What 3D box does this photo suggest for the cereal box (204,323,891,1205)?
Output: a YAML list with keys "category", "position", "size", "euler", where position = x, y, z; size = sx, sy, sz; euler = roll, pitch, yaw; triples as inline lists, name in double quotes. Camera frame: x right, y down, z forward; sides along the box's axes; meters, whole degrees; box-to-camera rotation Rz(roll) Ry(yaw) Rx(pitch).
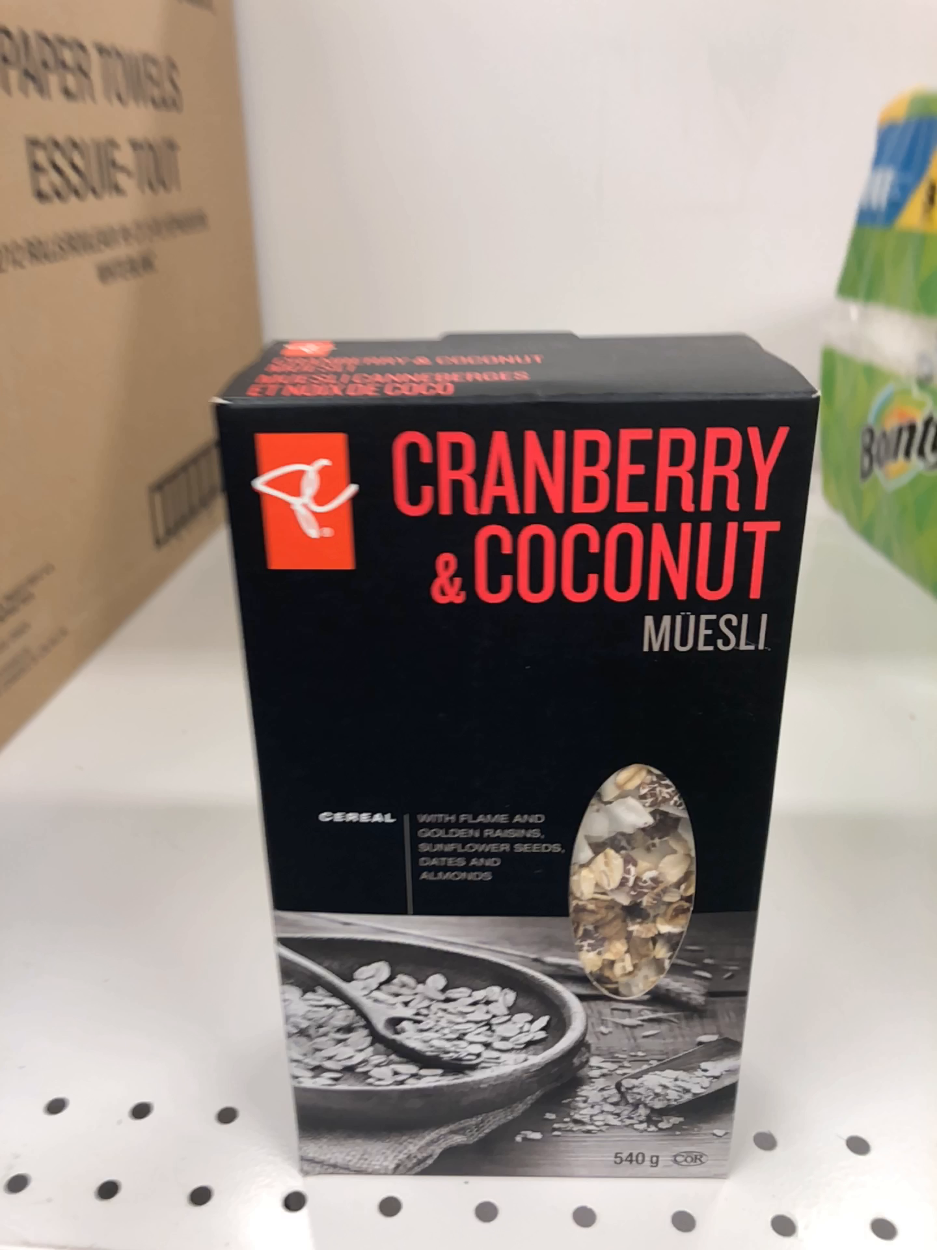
- category: "cereal box"
  position: [0.017, 0.035, 0.253]
  size: [0.120, 0.199, 0.070]
  euler: [0, 23, 4]
